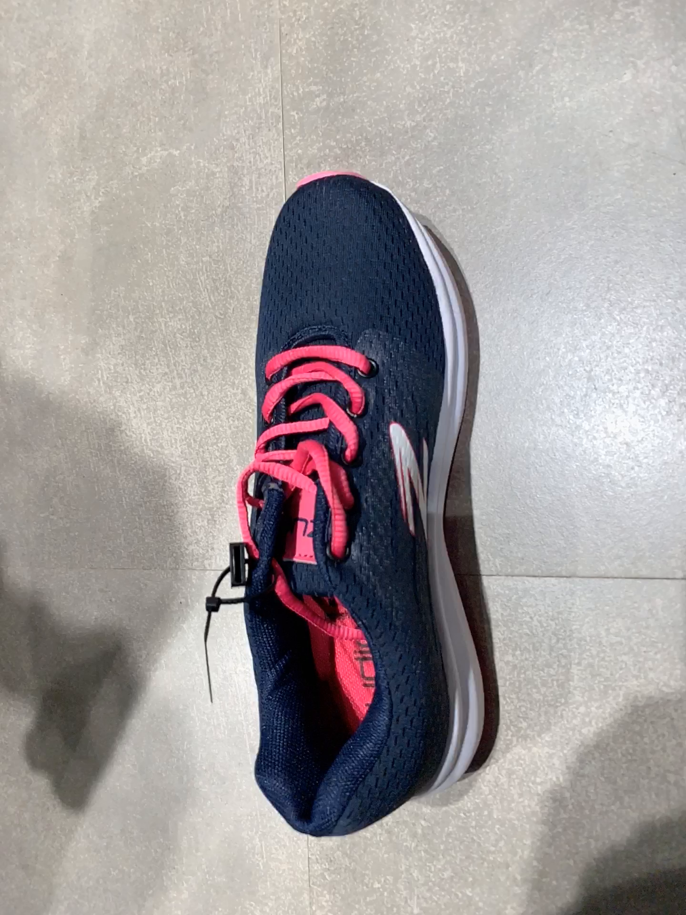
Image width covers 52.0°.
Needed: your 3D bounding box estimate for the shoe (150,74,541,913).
[{"bbox_3d":[0.003,0.012,0.269,0.095,0.090,0.248,-8,84,28],"label":"shoe"}]
